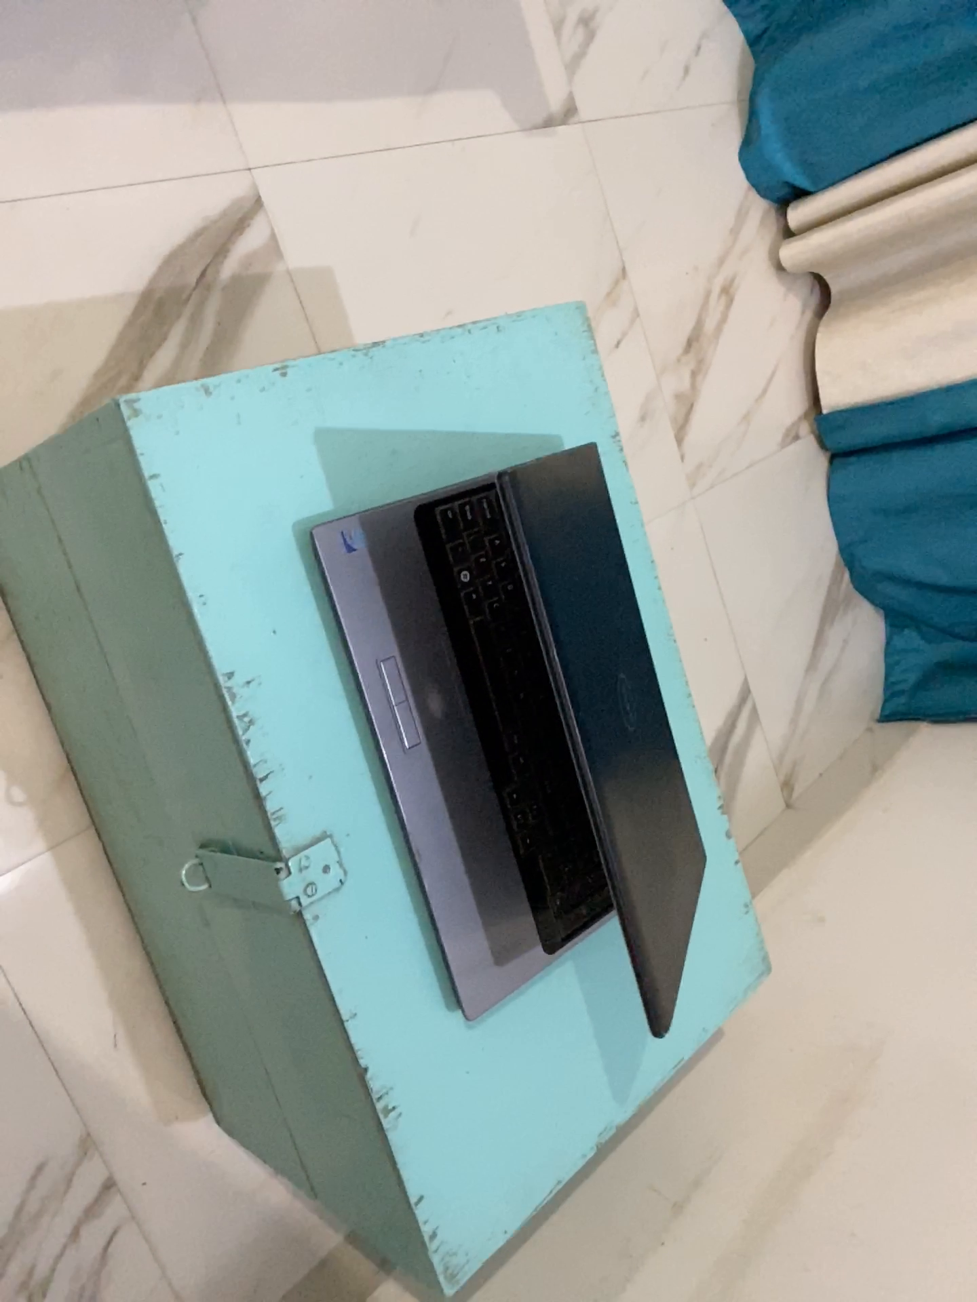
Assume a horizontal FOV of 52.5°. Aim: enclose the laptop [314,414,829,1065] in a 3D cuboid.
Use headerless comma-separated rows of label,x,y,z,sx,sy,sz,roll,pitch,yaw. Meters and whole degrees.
laptop,0.078,0.051,0.753,0.262,0.152,0.387,-25,103,-37
